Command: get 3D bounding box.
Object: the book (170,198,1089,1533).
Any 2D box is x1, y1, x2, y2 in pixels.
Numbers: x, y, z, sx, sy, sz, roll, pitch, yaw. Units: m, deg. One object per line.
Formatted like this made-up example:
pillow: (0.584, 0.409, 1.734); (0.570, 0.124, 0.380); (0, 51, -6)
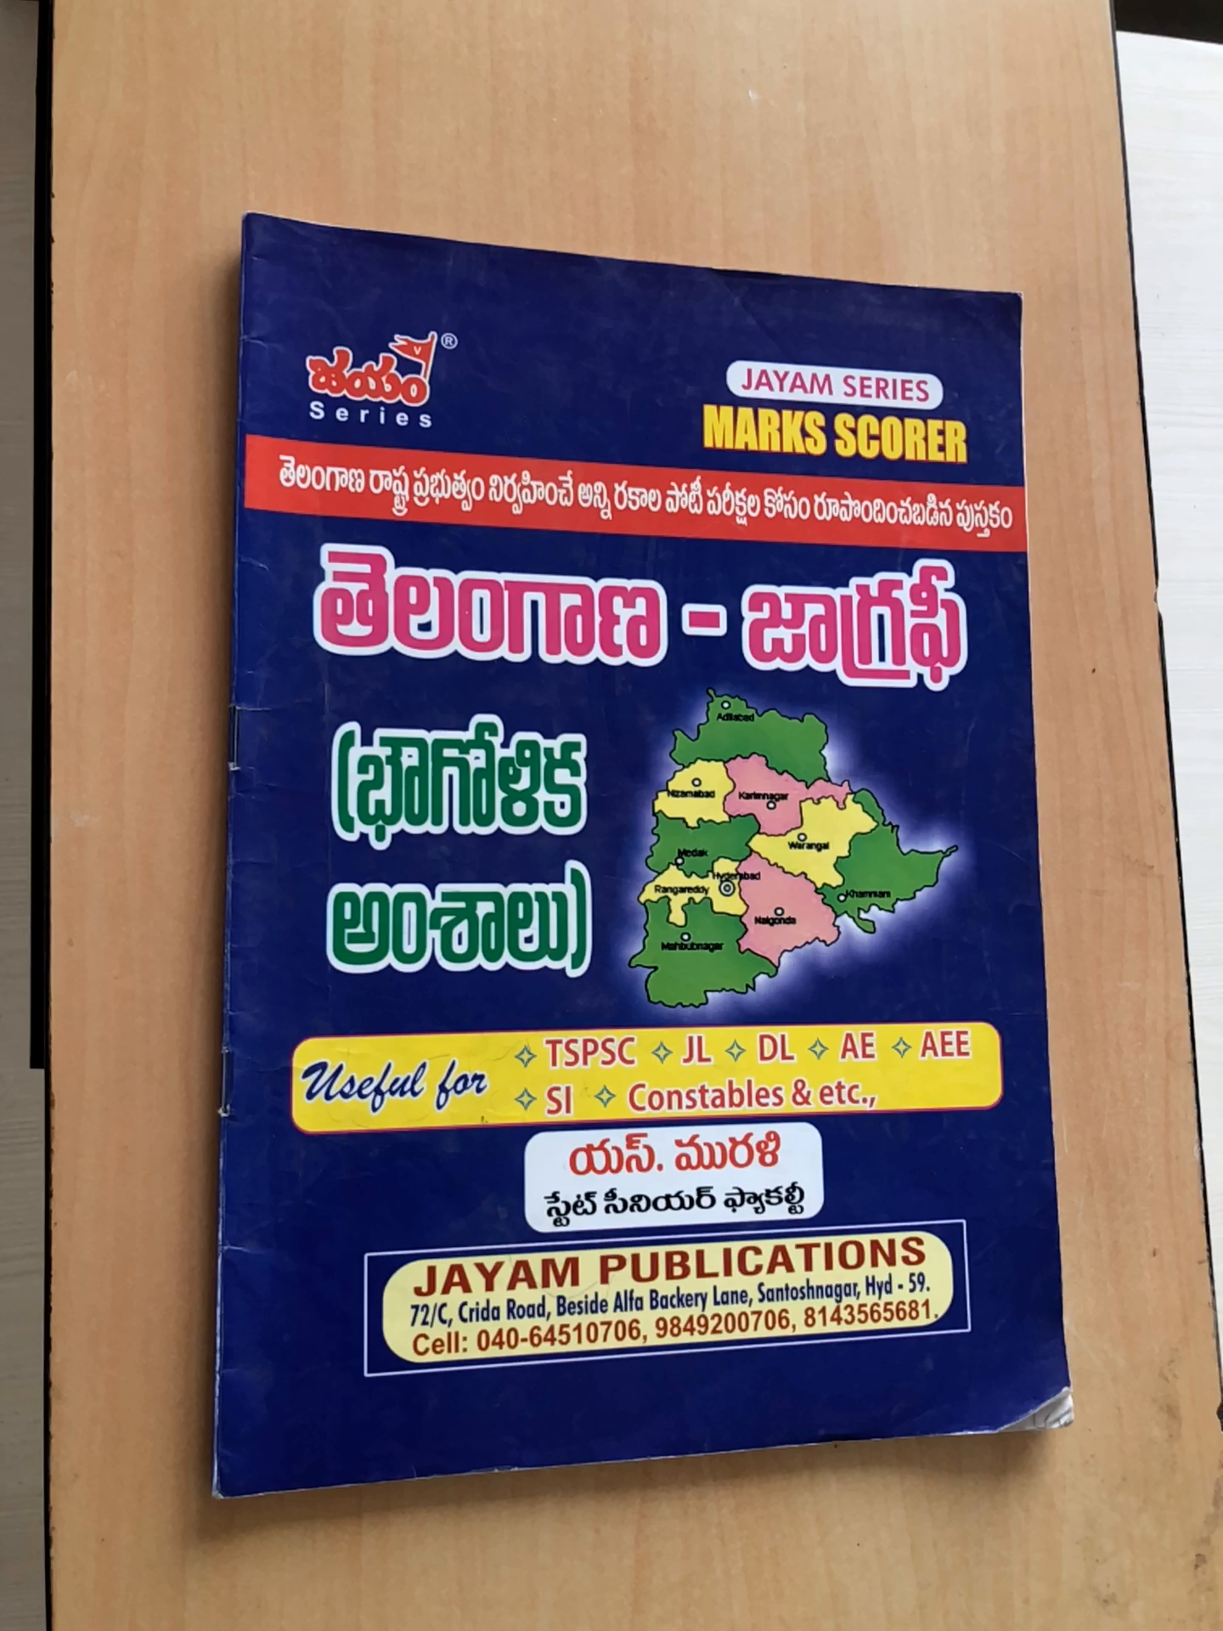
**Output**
book: (0.006, 0.006, 0.325); (0.200, 0.040, 0.280); (1, 83, -12)
